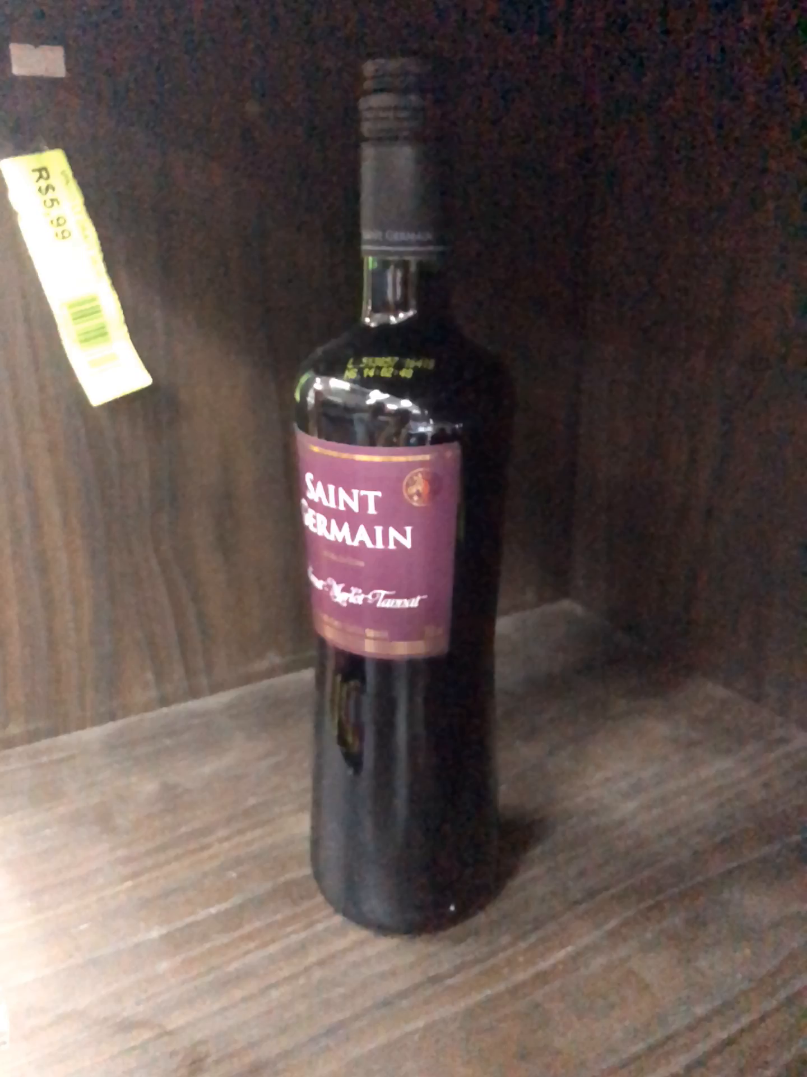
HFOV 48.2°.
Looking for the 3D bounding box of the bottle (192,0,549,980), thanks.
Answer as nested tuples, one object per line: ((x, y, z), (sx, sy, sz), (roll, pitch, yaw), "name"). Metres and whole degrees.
((-0.006, -0.005, 0.317), (0.080, 0.308, 0.070), (10, 22, 28), "bottle")
